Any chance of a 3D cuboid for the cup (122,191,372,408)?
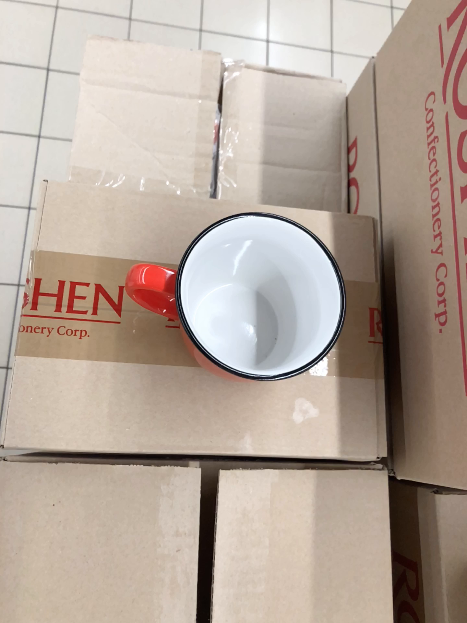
[{"bbox_3d":[0.004,0.001,0.323,0.127,0.090,0.096,10,76,-8],"label":"cup"}]
